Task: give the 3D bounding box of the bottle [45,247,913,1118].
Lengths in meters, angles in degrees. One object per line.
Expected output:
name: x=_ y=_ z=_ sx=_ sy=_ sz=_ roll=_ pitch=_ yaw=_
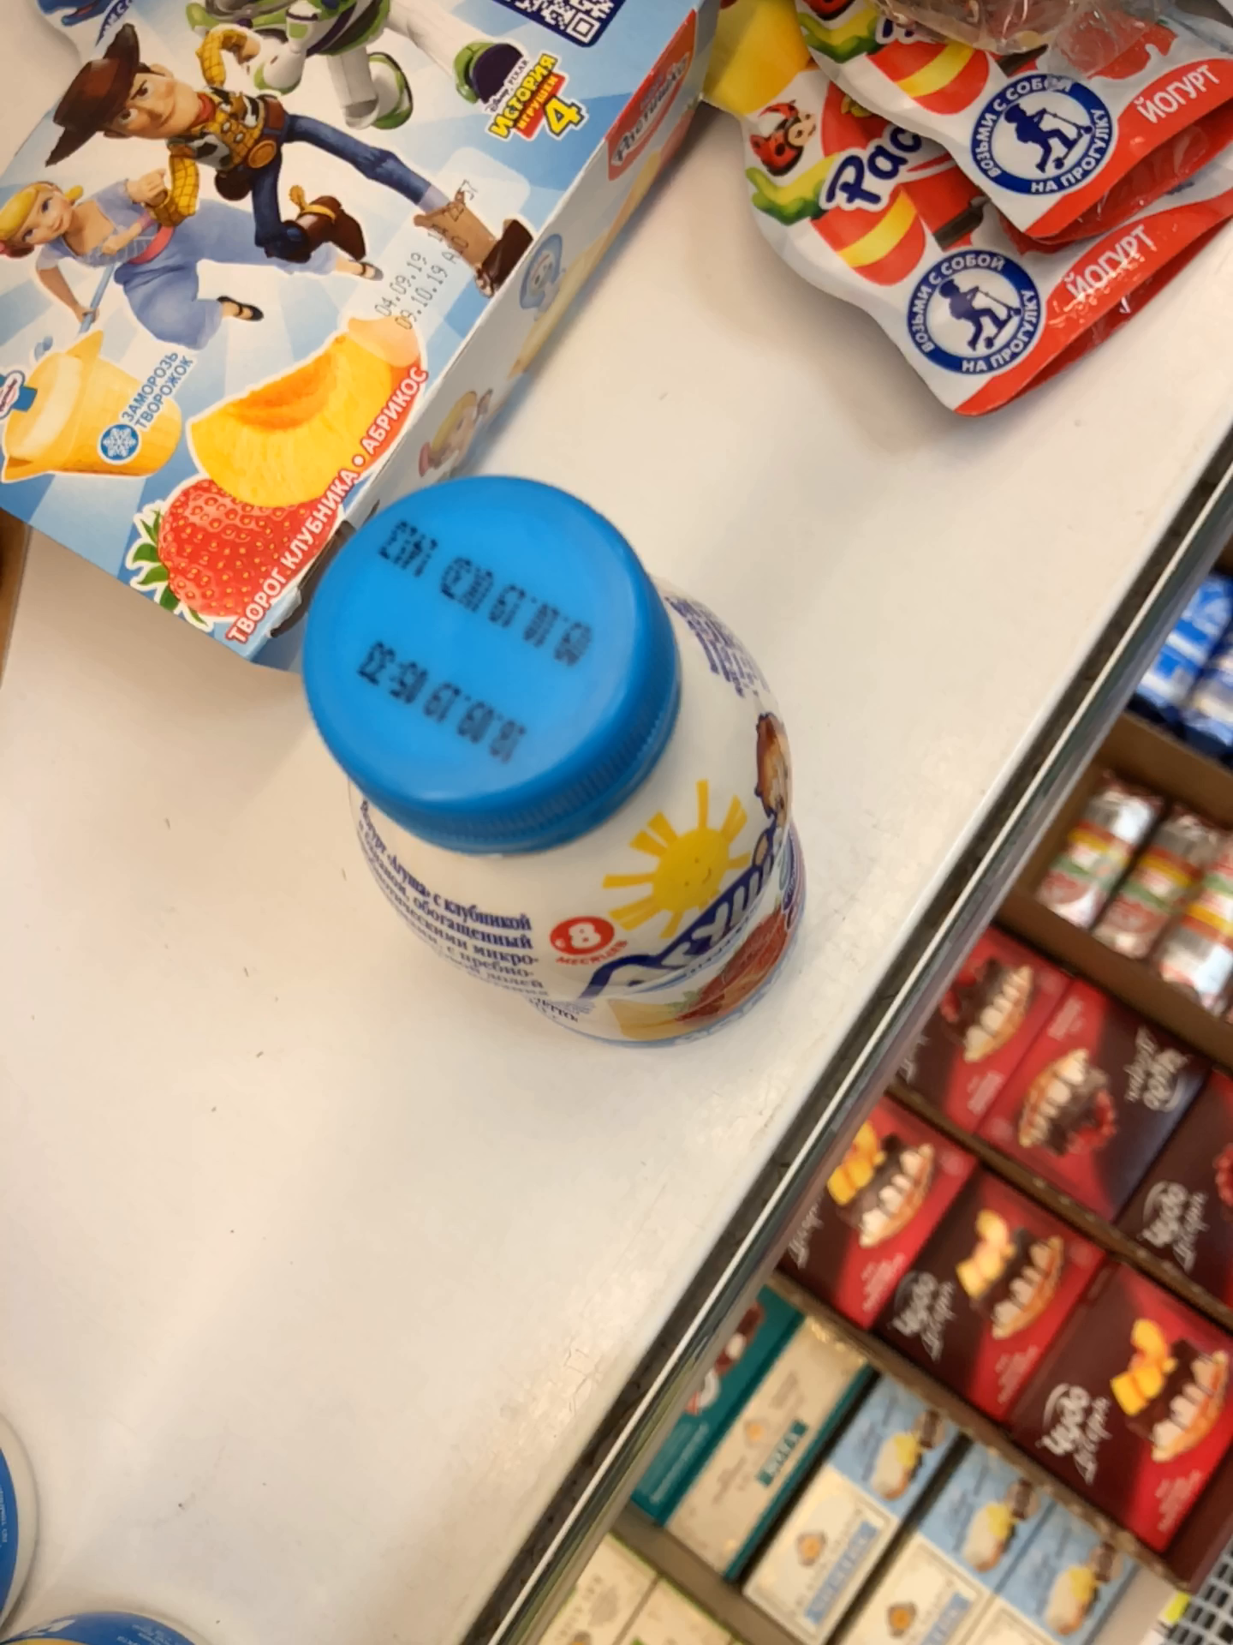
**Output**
bottle: x=-0.005 y=-0.003 z=0.194 sx=0.060 sy=0.130 sz=0.060 roll=-2 pitch=77 yaw=8
